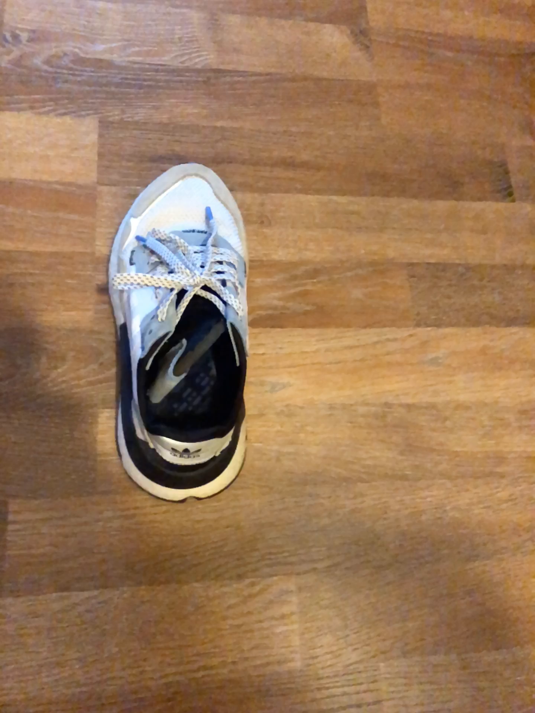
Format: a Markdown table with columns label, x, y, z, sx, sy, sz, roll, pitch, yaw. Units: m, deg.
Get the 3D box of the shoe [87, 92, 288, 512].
| label | x | y | z | sx | sy | sz | roll | pitch | yaw |
| --- | --- | --- | --- | --- | --- | --- | --- | --- | --- |
| shoe | -0.063 | -0.034 | 0.426 | 0.113 | 0.110 | 0.271 | -1 | 73 | -12 |
